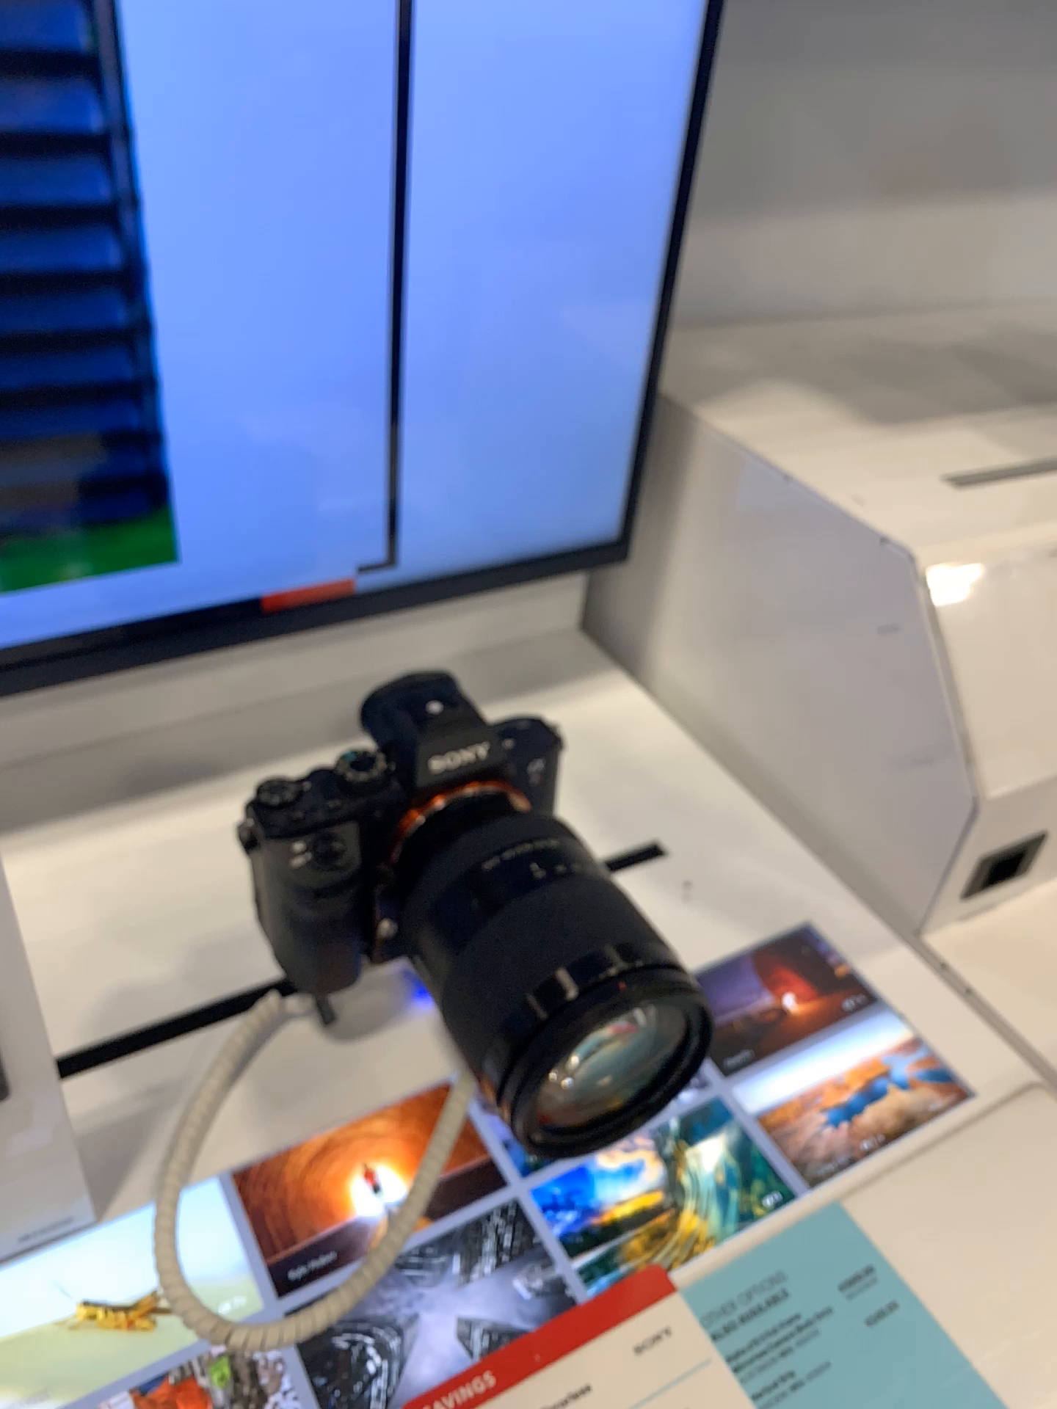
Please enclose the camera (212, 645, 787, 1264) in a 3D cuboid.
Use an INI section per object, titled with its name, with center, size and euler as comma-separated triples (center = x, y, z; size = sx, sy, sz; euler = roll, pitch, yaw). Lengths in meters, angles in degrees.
[camera]
center = -0.022, 0.081, 0.435
size = 0.140, 0.100, 0.181
euler = -16, 42, -26
